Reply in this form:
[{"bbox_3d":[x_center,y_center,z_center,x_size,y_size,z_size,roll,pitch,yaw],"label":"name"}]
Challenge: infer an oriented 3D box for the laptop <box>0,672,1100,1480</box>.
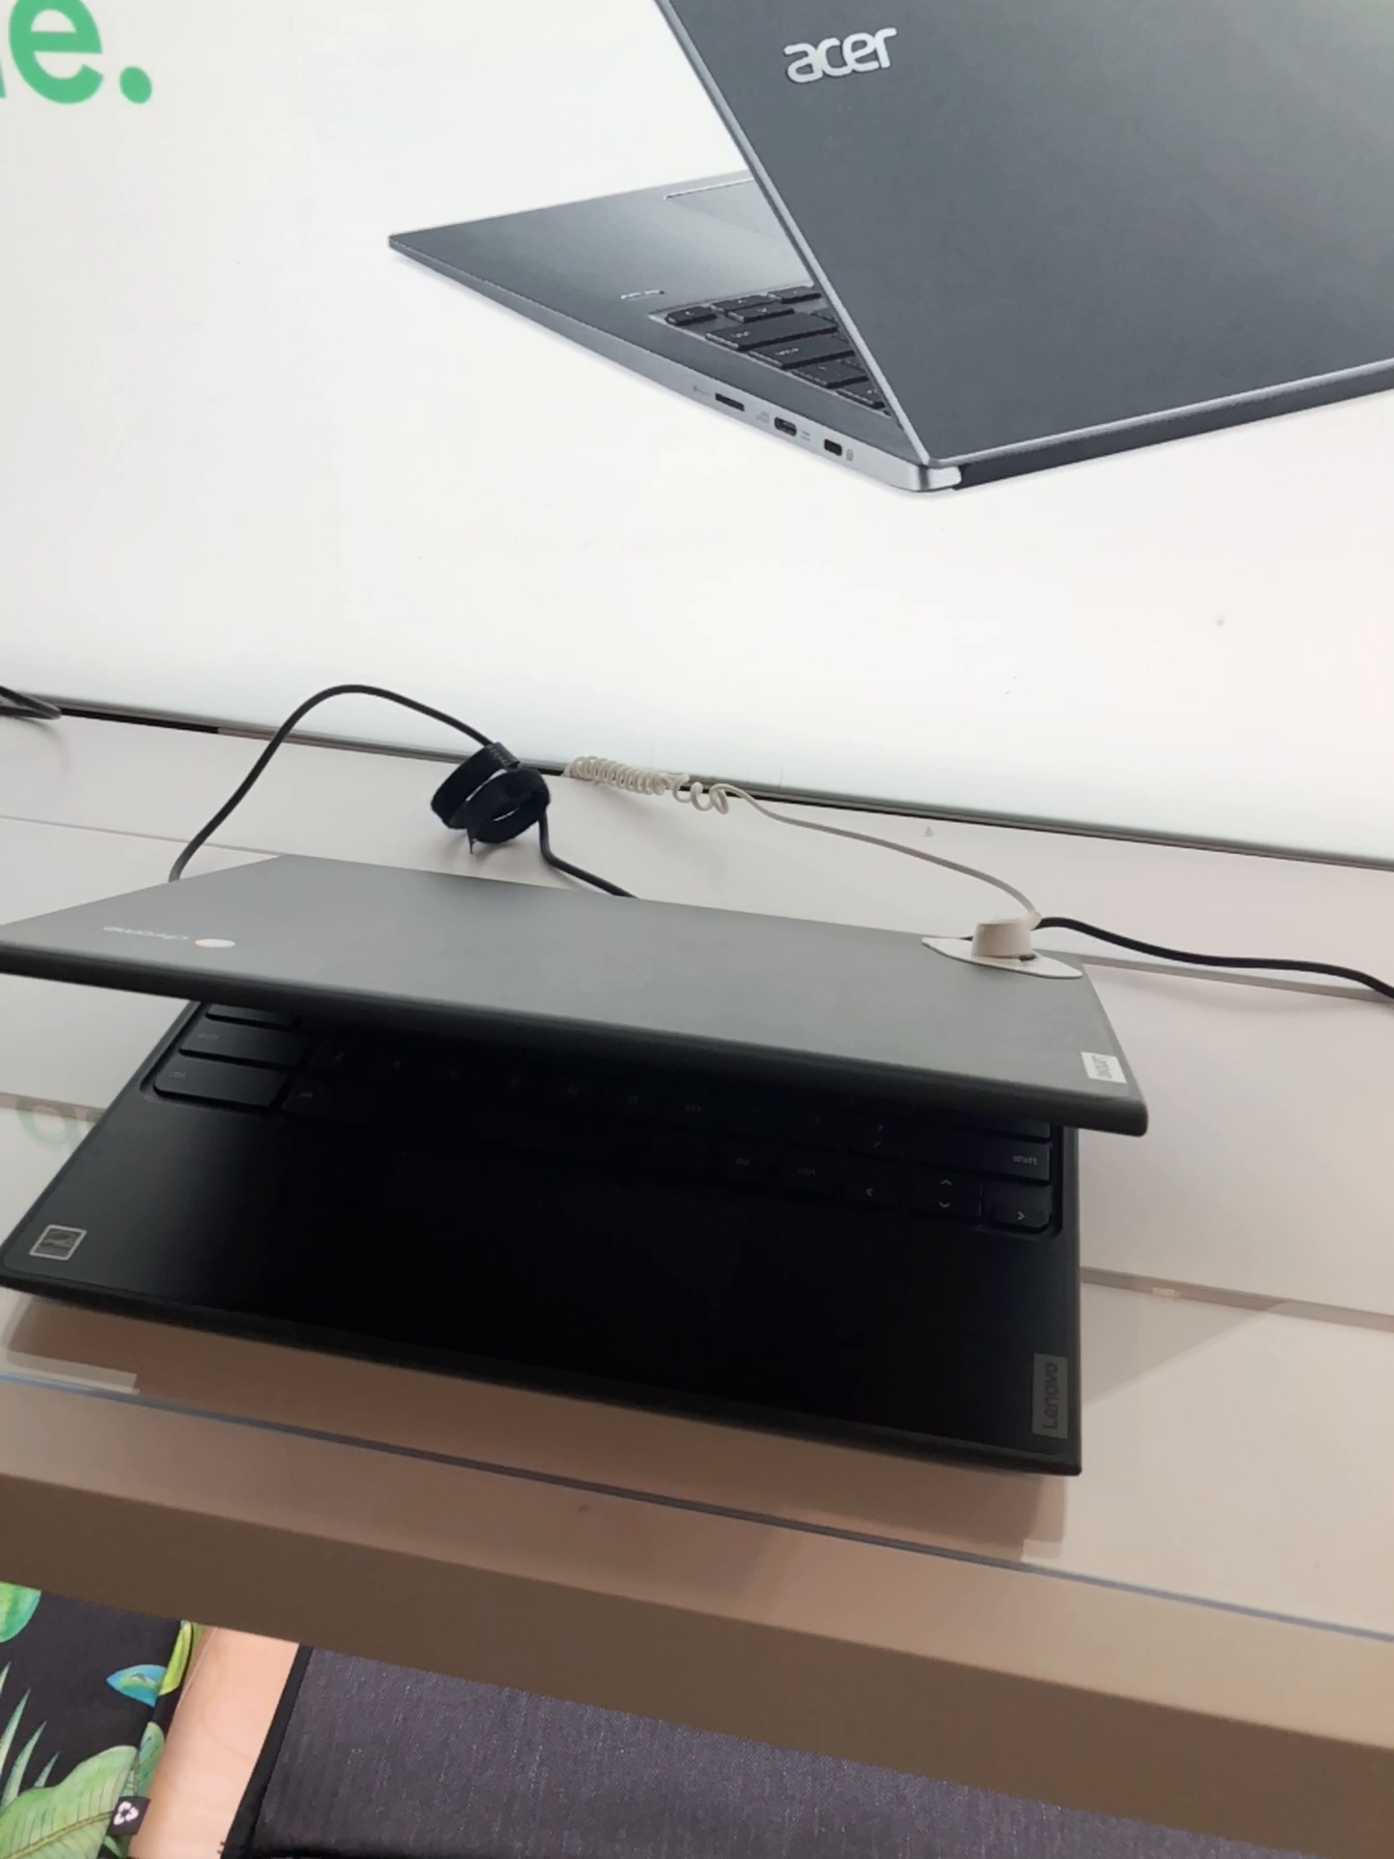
[{"bbox_3d":[-0.037,0.020,0.426,0.277,0.072,0.186,7,38,11],"label":"laptop"}]
